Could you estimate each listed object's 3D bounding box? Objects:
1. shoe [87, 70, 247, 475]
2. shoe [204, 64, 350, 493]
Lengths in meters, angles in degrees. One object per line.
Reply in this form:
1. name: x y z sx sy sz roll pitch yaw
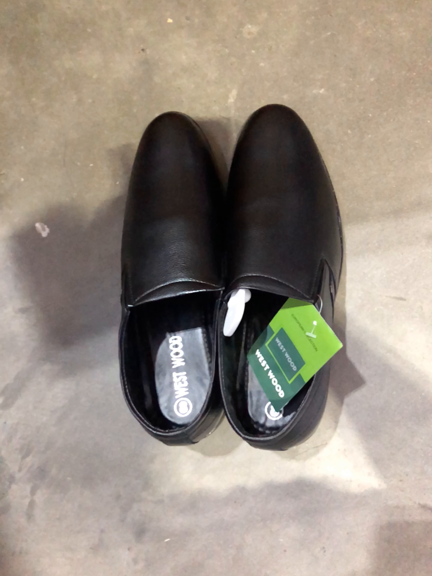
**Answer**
1. shoe: -0.038 -0.010 0.412 0.100 0.100 0.300 -4 85 11
2. shoe: 0.053 -0.008 0.388 0.100 0.090 0.300 1 86 12
